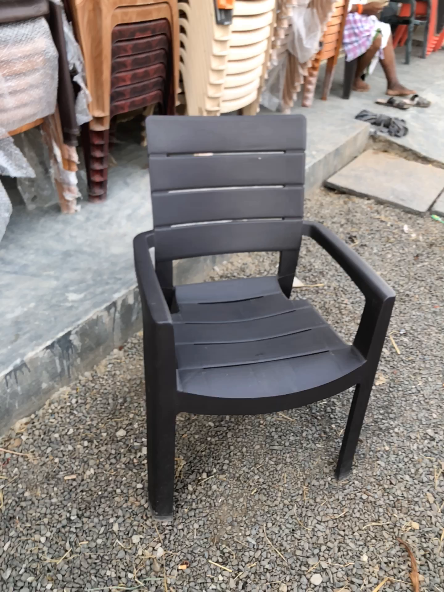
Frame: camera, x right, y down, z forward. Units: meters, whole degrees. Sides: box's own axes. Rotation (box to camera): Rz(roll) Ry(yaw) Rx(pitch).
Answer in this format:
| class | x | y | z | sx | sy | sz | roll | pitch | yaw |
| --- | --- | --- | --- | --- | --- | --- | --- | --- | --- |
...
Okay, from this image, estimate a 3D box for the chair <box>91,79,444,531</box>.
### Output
| class | x | y | z | sx | sy | sz | roll | pitch | yaw |
| --- | --- | --- | --- | --- | --- | --- | --- | --- | --- |
| chair | 0.032 | -0.021 | 1.201 | 0.571 | 0.796 | 0.683 | -7 | 38 | -15 |
